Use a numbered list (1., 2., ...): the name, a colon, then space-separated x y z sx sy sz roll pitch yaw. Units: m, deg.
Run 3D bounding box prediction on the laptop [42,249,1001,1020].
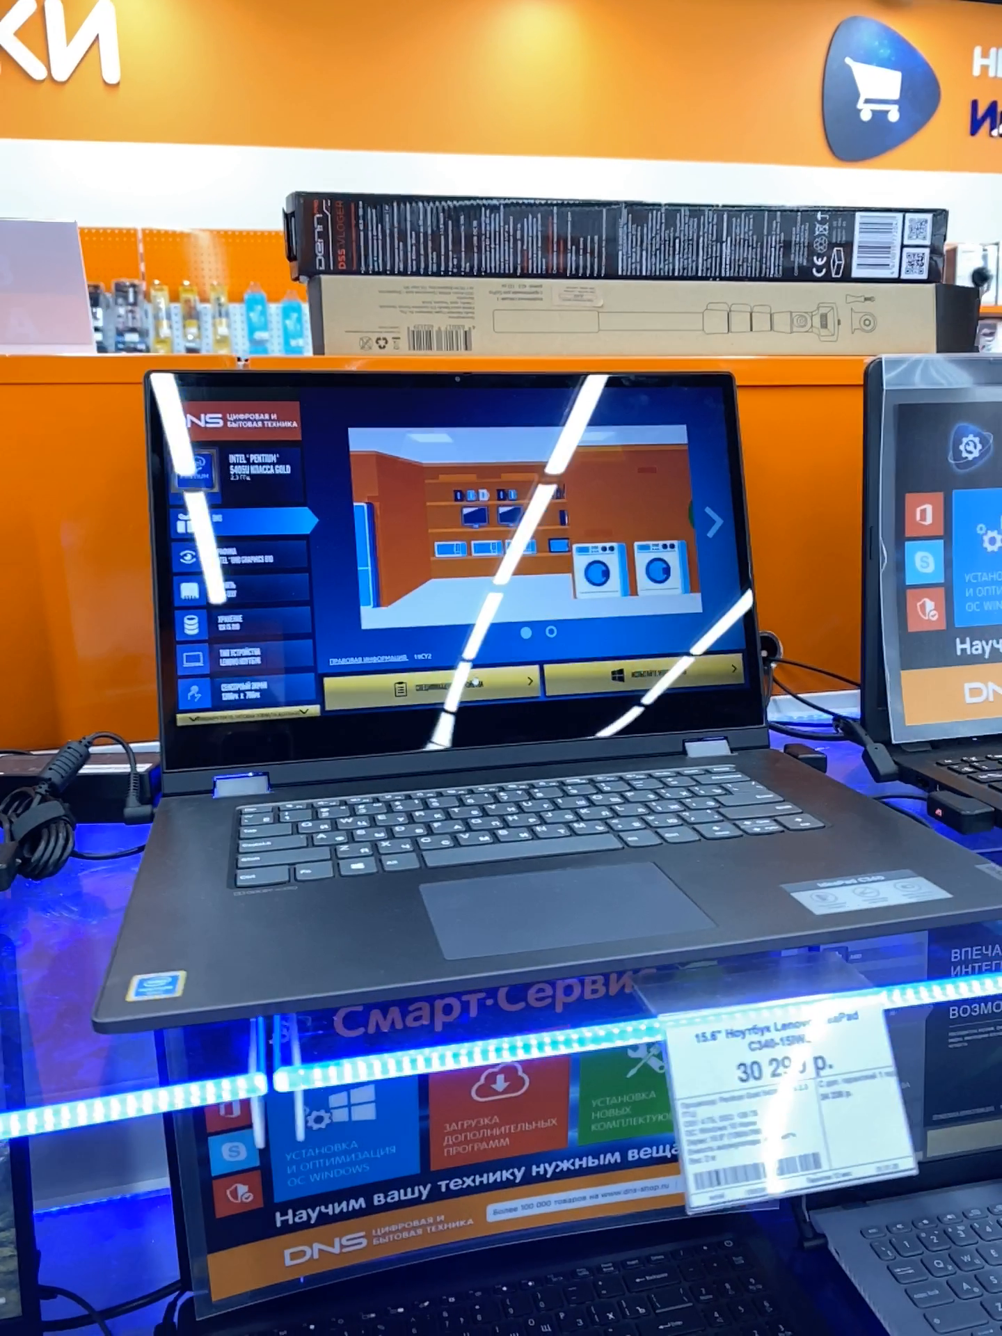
1. laptop: 0.012 -0.039 0.503 0.362 0.232 0.318 -3 10 -14
